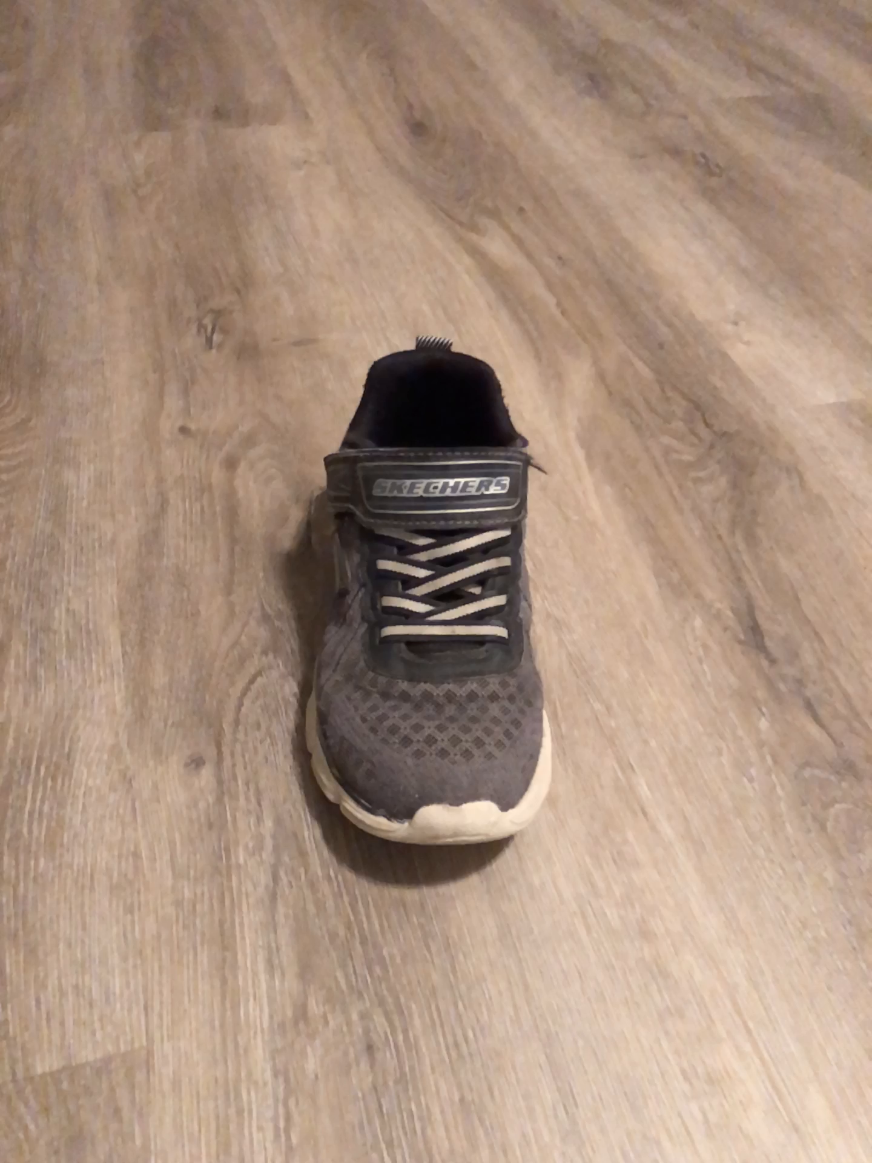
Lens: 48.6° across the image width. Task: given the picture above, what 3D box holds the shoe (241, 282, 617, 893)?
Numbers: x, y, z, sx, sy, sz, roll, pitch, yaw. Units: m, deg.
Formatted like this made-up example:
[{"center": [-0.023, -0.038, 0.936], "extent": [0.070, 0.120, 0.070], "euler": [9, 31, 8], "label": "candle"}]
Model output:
[{"center": [-0.006, -0.012, 0.373], "extent": [0.100, 0.100, 0.231], "euler": [1, 45, -3], "label": "shoe"}]
